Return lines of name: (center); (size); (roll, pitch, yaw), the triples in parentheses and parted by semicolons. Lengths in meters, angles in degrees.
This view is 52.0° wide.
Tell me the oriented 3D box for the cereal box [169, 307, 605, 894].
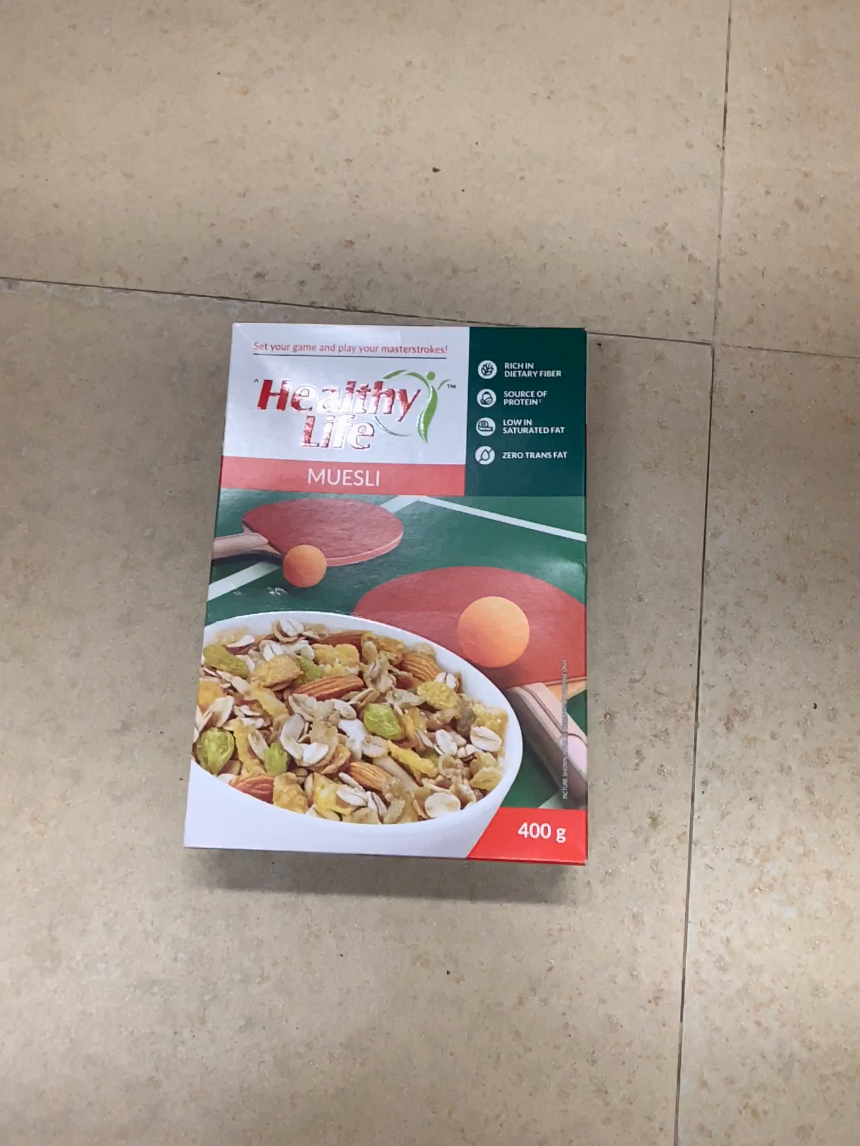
cereal box: (-0.012, 0.011, 0.388); (0.160, 0.080, 0.230); (2, 77, 1)
